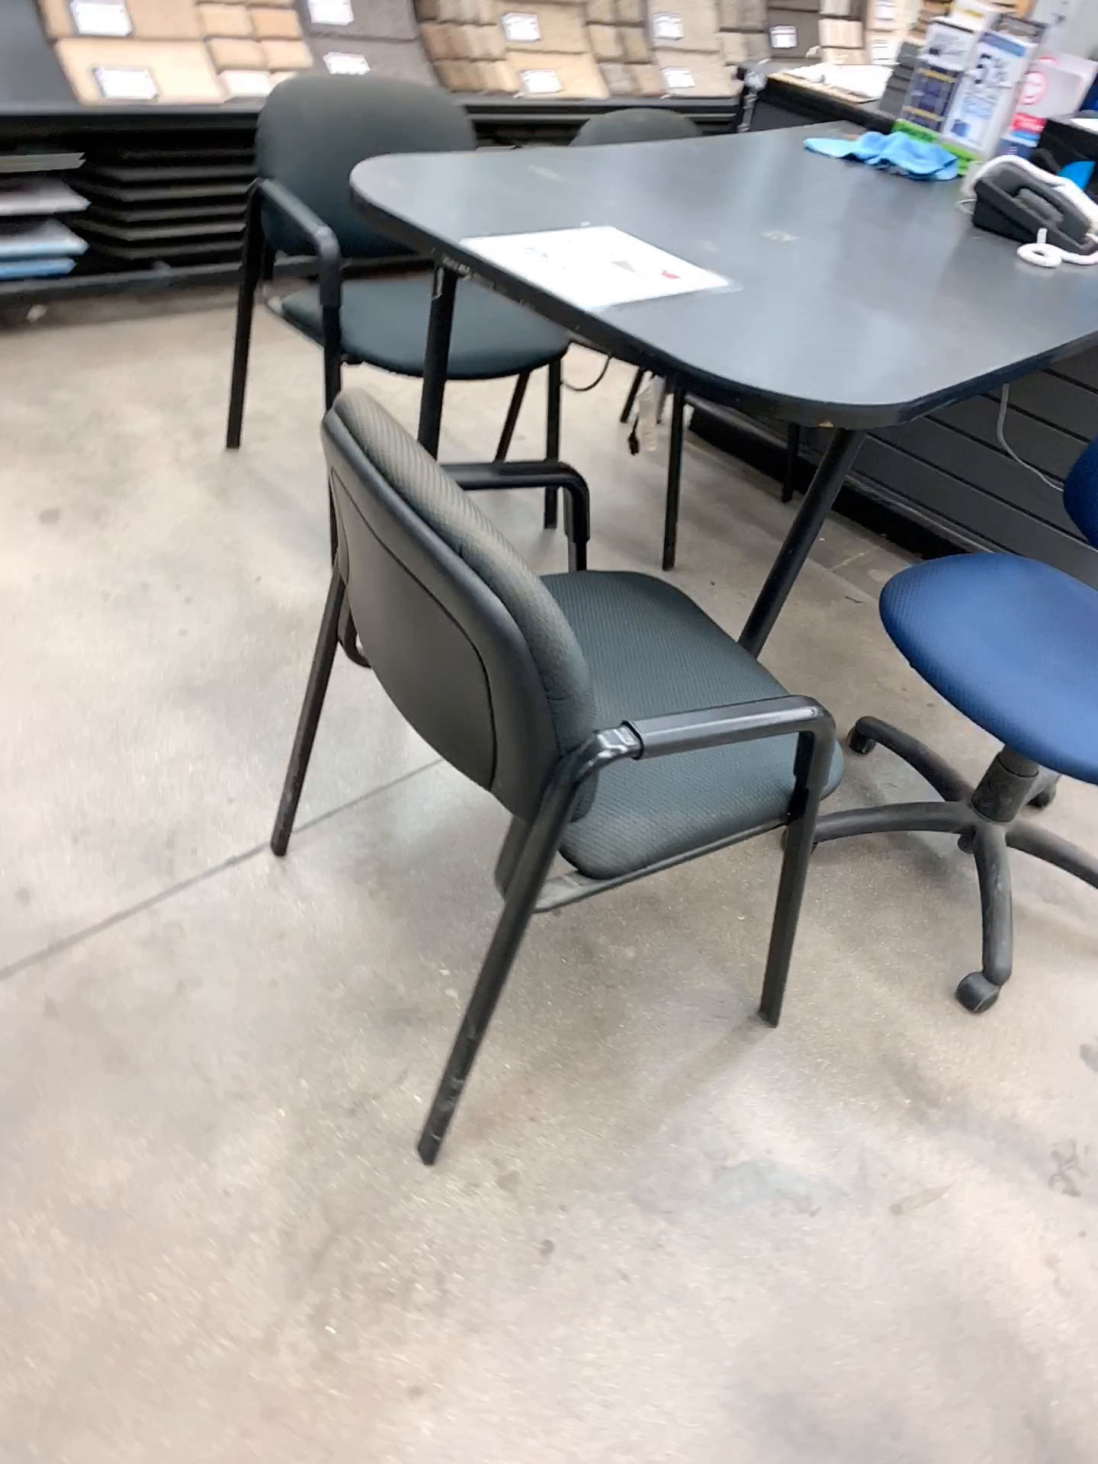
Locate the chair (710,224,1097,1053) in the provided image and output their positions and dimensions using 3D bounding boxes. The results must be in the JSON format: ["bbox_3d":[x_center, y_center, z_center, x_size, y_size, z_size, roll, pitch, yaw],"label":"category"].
[{"bbox_3d":[0.829,-0.165,1.671,0.717,0.918,0.645,-13,45,-28],"label":"chair"}]

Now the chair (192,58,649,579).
[{"bbox_3d":[-0.303,-0.856,2.308,0.638,0.777,0.584,-18,48,-33],"label":"chair"}]

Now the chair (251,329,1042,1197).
[{"bbox_3d":[0.020,0.002,1.375,0.586,0.750,0.606,-13,45,-29],"label":"chair"}]
